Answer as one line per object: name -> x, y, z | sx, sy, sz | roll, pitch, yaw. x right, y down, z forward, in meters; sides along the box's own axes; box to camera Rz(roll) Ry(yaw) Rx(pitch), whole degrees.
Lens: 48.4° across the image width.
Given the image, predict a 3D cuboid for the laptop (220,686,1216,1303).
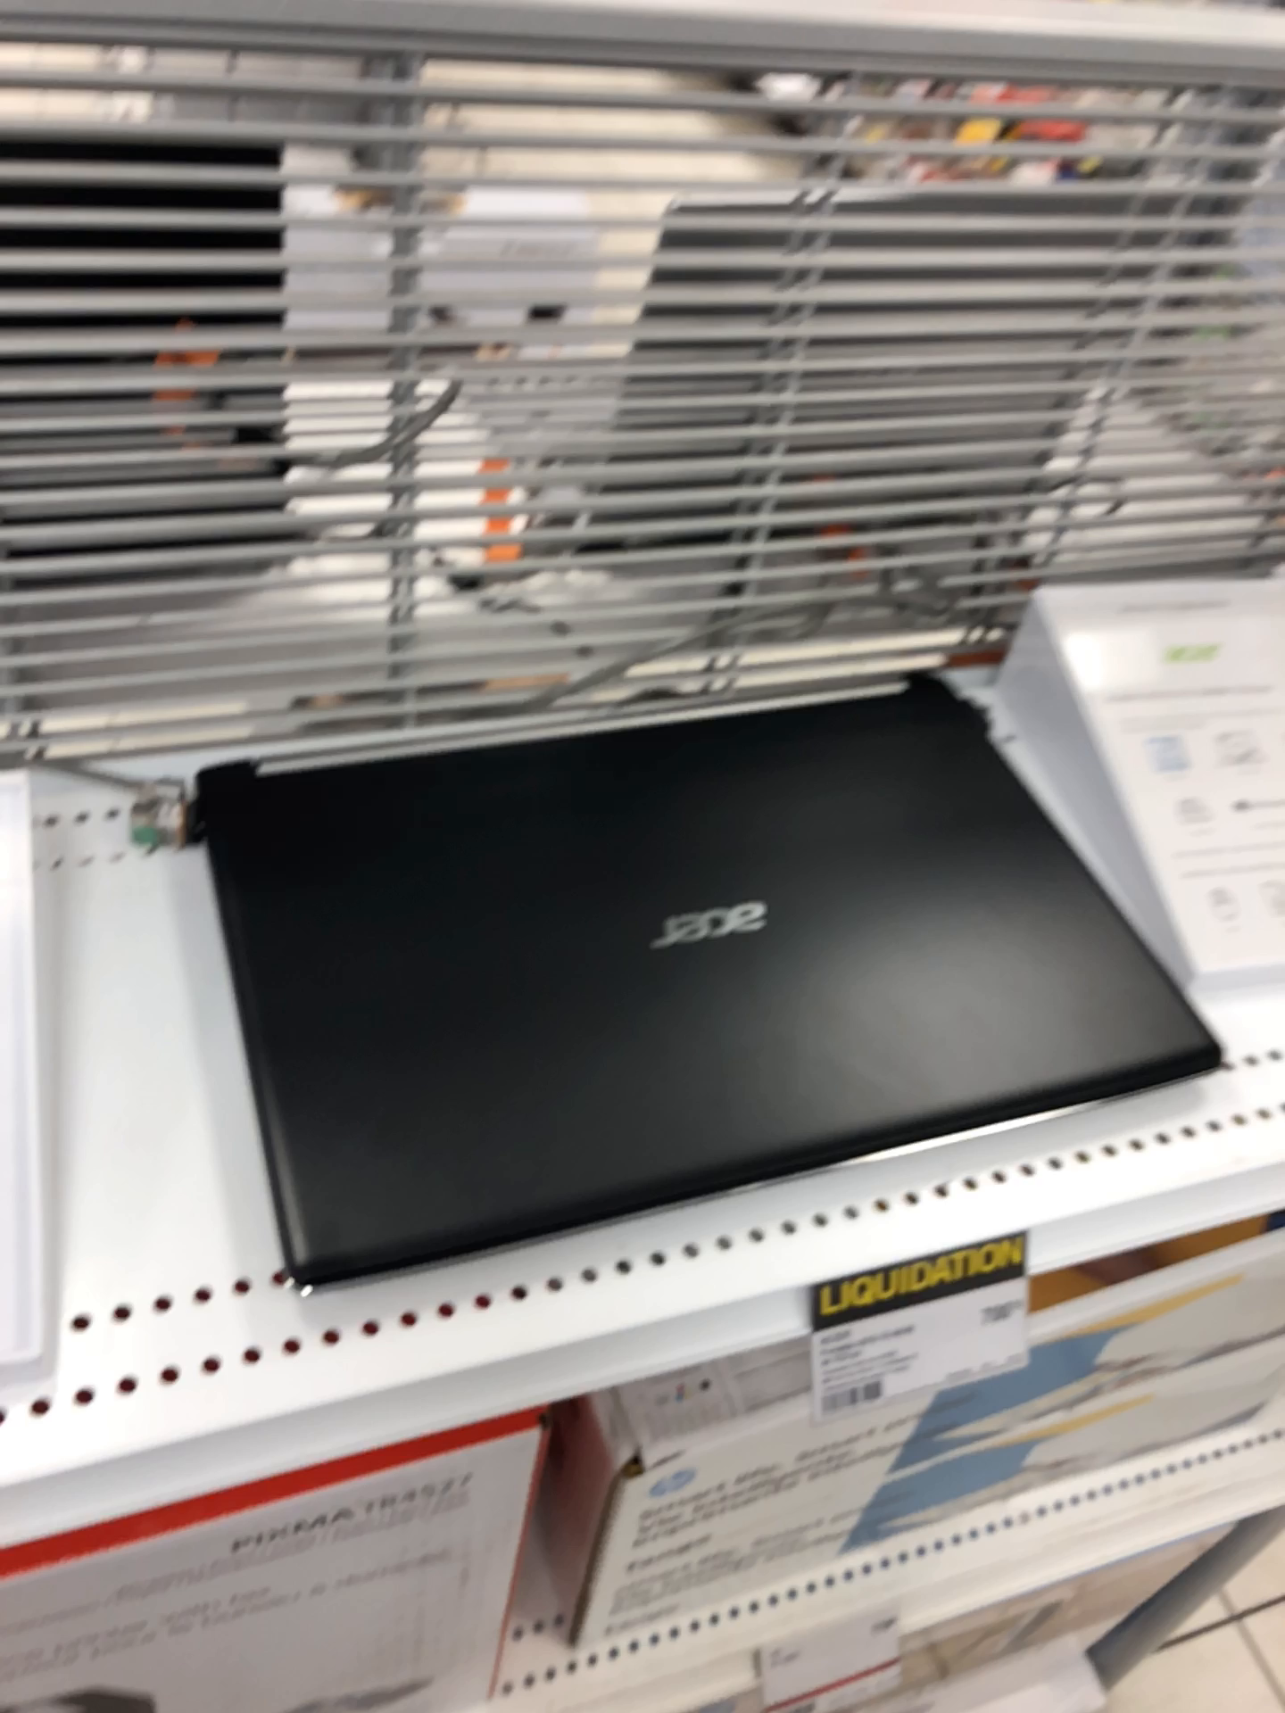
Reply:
laptop -> 0.026, 0.029, 0.589 | 0.362, 0.012, 0.228 | -9, 49, -19
